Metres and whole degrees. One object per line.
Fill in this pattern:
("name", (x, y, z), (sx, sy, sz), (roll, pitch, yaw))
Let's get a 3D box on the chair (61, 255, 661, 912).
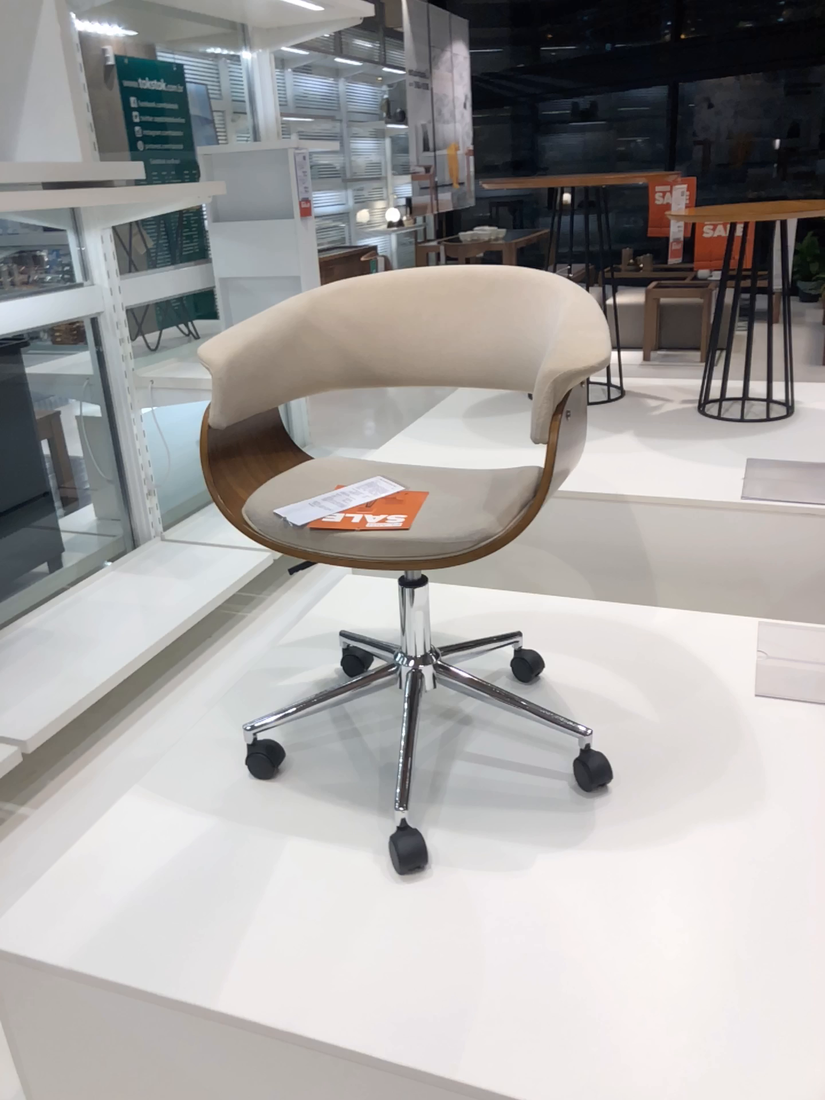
("chair", (0.012, -0.035, 1.393), (0.630, 0.725, 0.674), (4, 23, 19))
